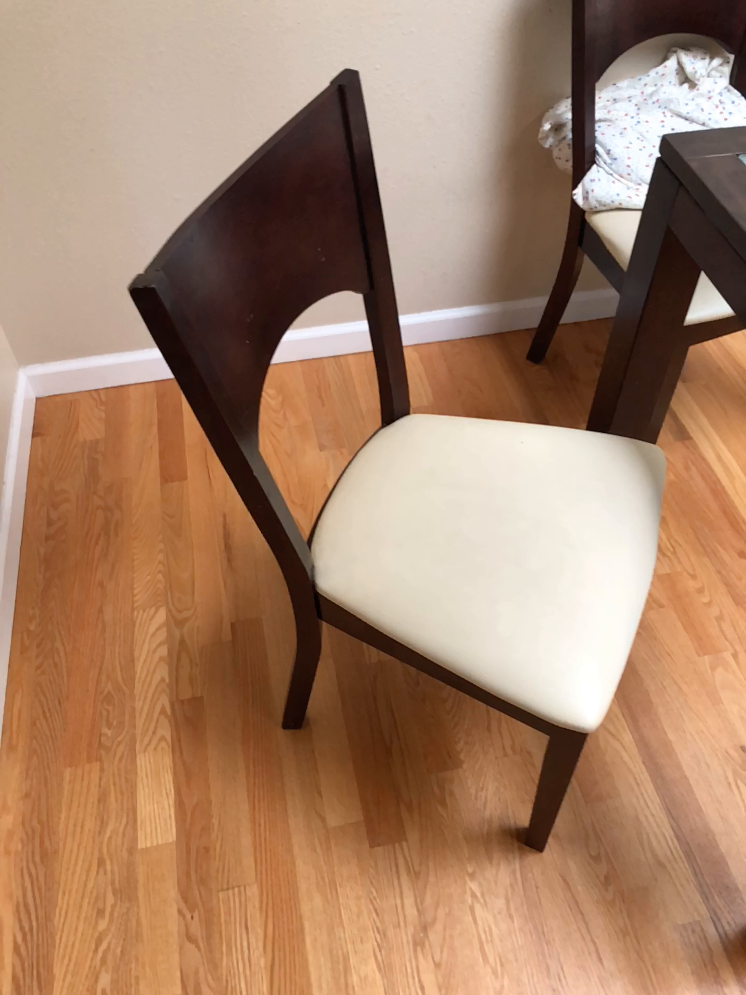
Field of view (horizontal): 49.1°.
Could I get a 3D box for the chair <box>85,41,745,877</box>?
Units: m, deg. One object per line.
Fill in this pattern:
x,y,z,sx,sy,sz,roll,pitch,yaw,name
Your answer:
0.132,-0.012,1.138,0.570,0.895,0.593,16,50,14,chair
